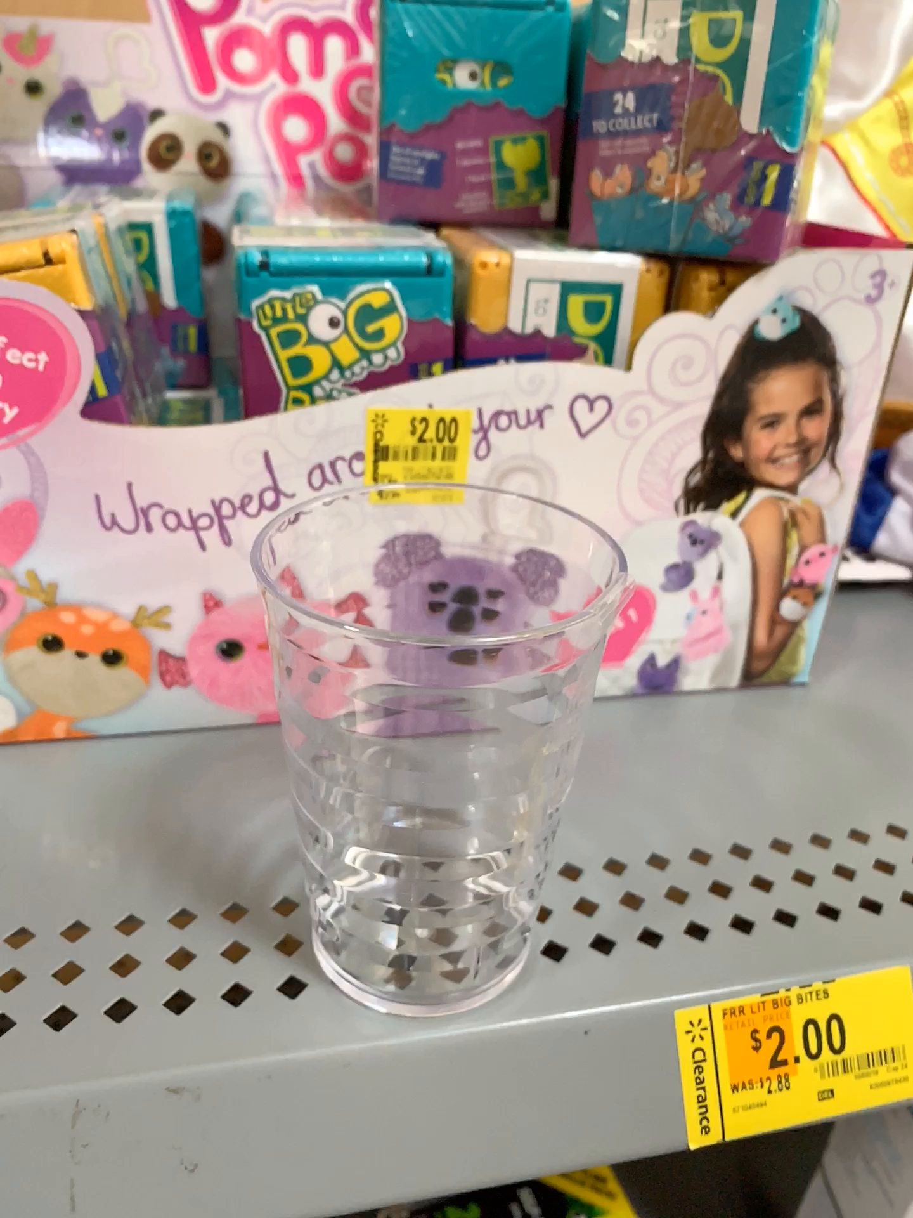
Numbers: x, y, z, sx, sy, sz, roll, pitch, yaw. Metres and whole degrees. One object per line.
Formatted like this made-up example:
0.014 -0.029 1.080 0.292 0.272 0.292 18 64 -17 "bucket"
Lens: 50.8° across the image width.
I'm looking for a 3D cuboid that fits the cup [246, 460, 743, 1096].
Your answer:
-0.001 0.032 0.207 0.079 0.107 0.070 -4 29 -13 "cup"
